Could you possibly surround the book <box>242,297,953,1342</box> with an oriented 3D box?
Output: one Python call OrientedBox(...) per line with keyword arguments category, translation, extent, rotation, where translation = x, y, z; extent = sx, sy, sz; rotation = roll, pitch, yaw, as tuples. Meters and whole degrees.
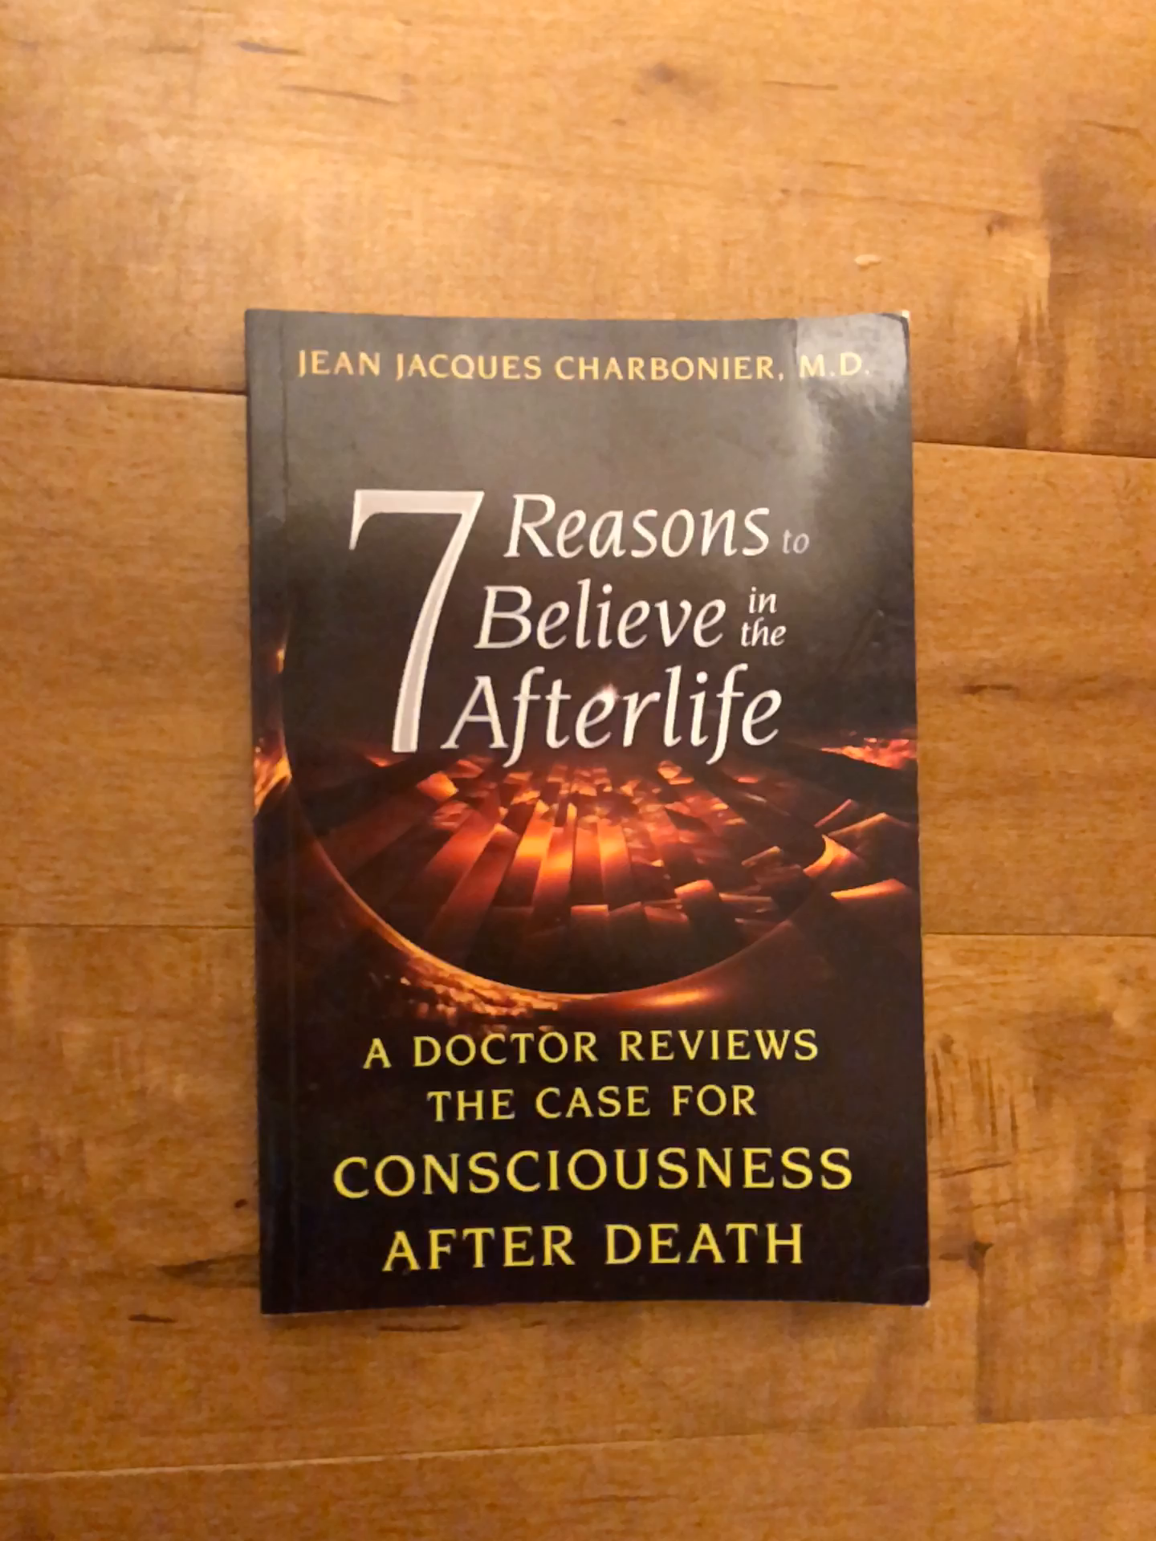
OrientedBox(category="book", translation=(0.005, 0.011, 0.321), extent=(0.170, 0.030, 0.250), rotation=(0, 90, -1))
